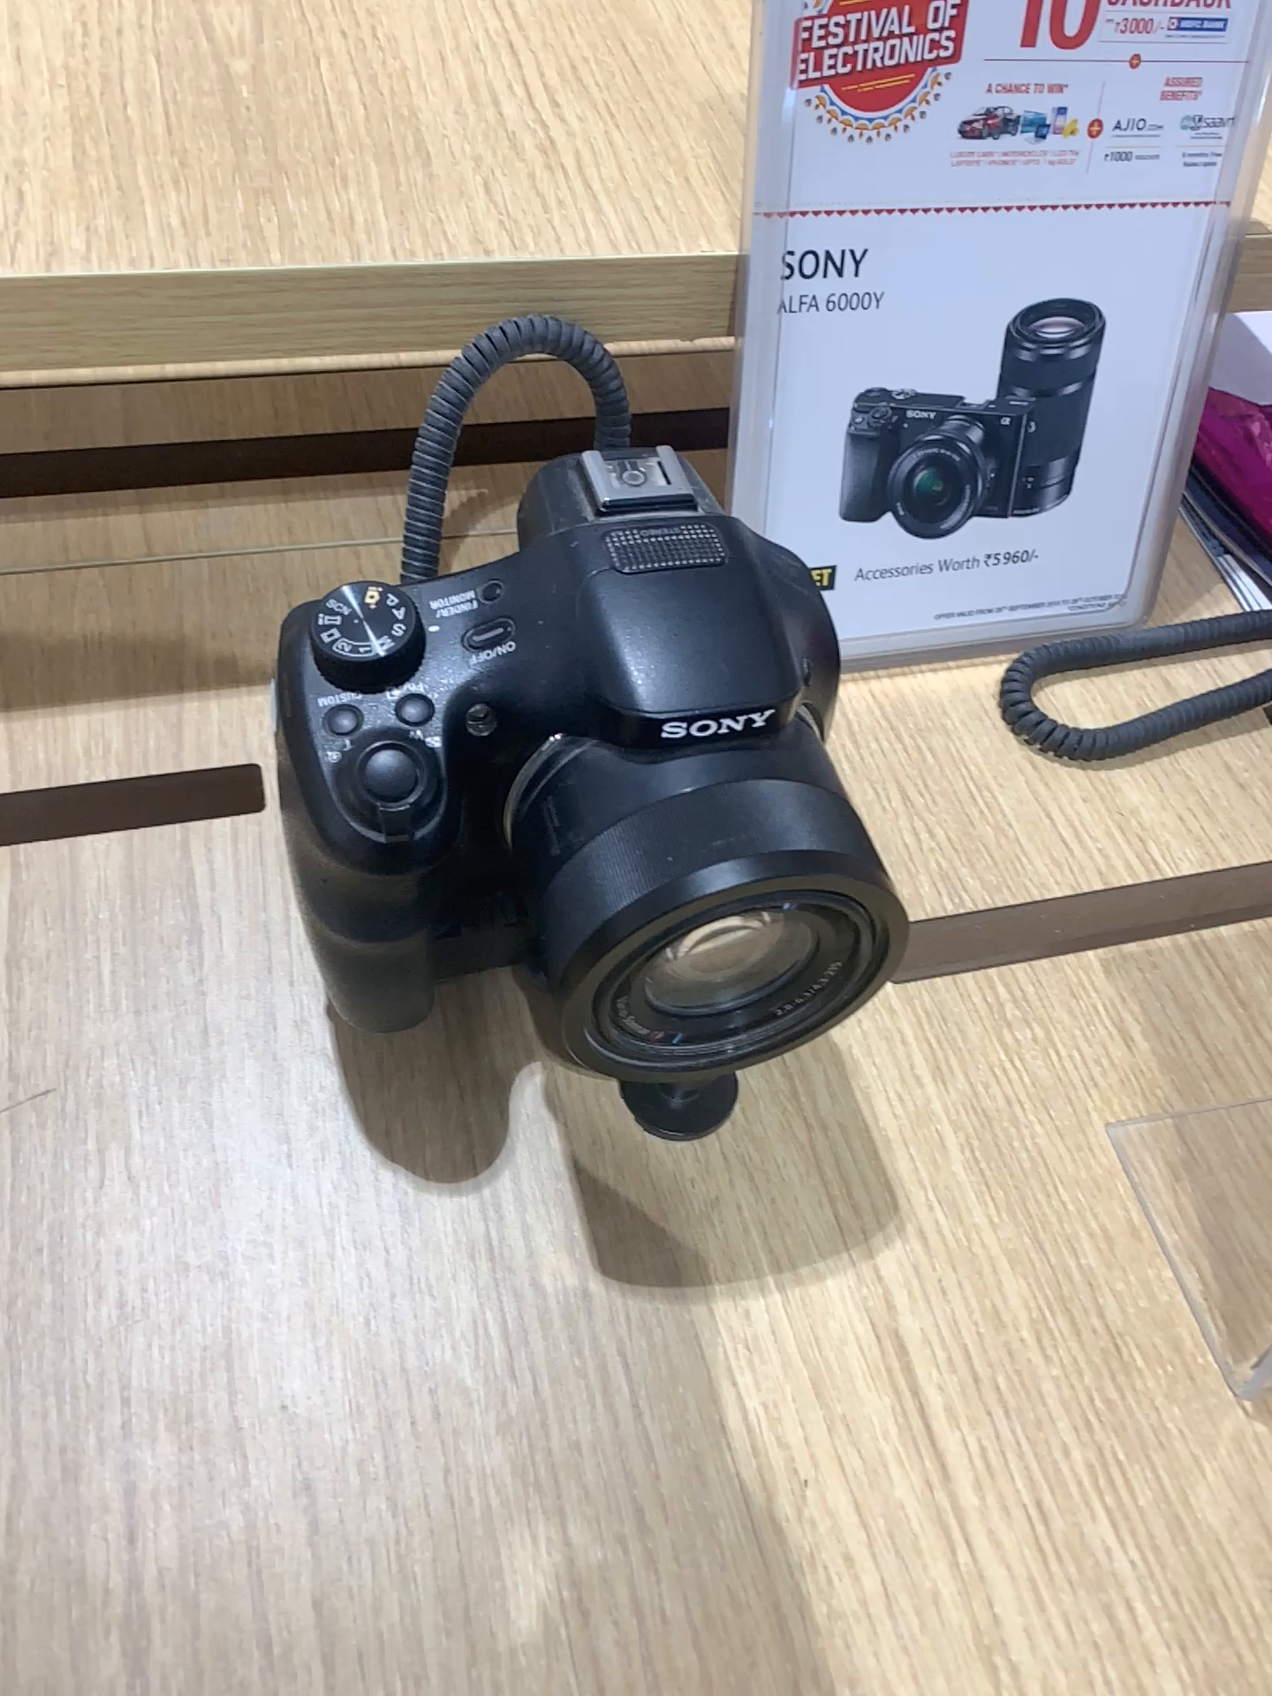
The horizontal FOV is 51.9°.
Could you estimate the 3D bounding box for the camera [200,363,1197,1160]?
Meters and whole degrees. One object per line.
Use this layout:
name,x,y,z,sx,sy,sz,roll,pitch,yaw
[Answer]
camera,0.001,-0.018,0.248,0.140,0.100,0.090,-9,55,-16
